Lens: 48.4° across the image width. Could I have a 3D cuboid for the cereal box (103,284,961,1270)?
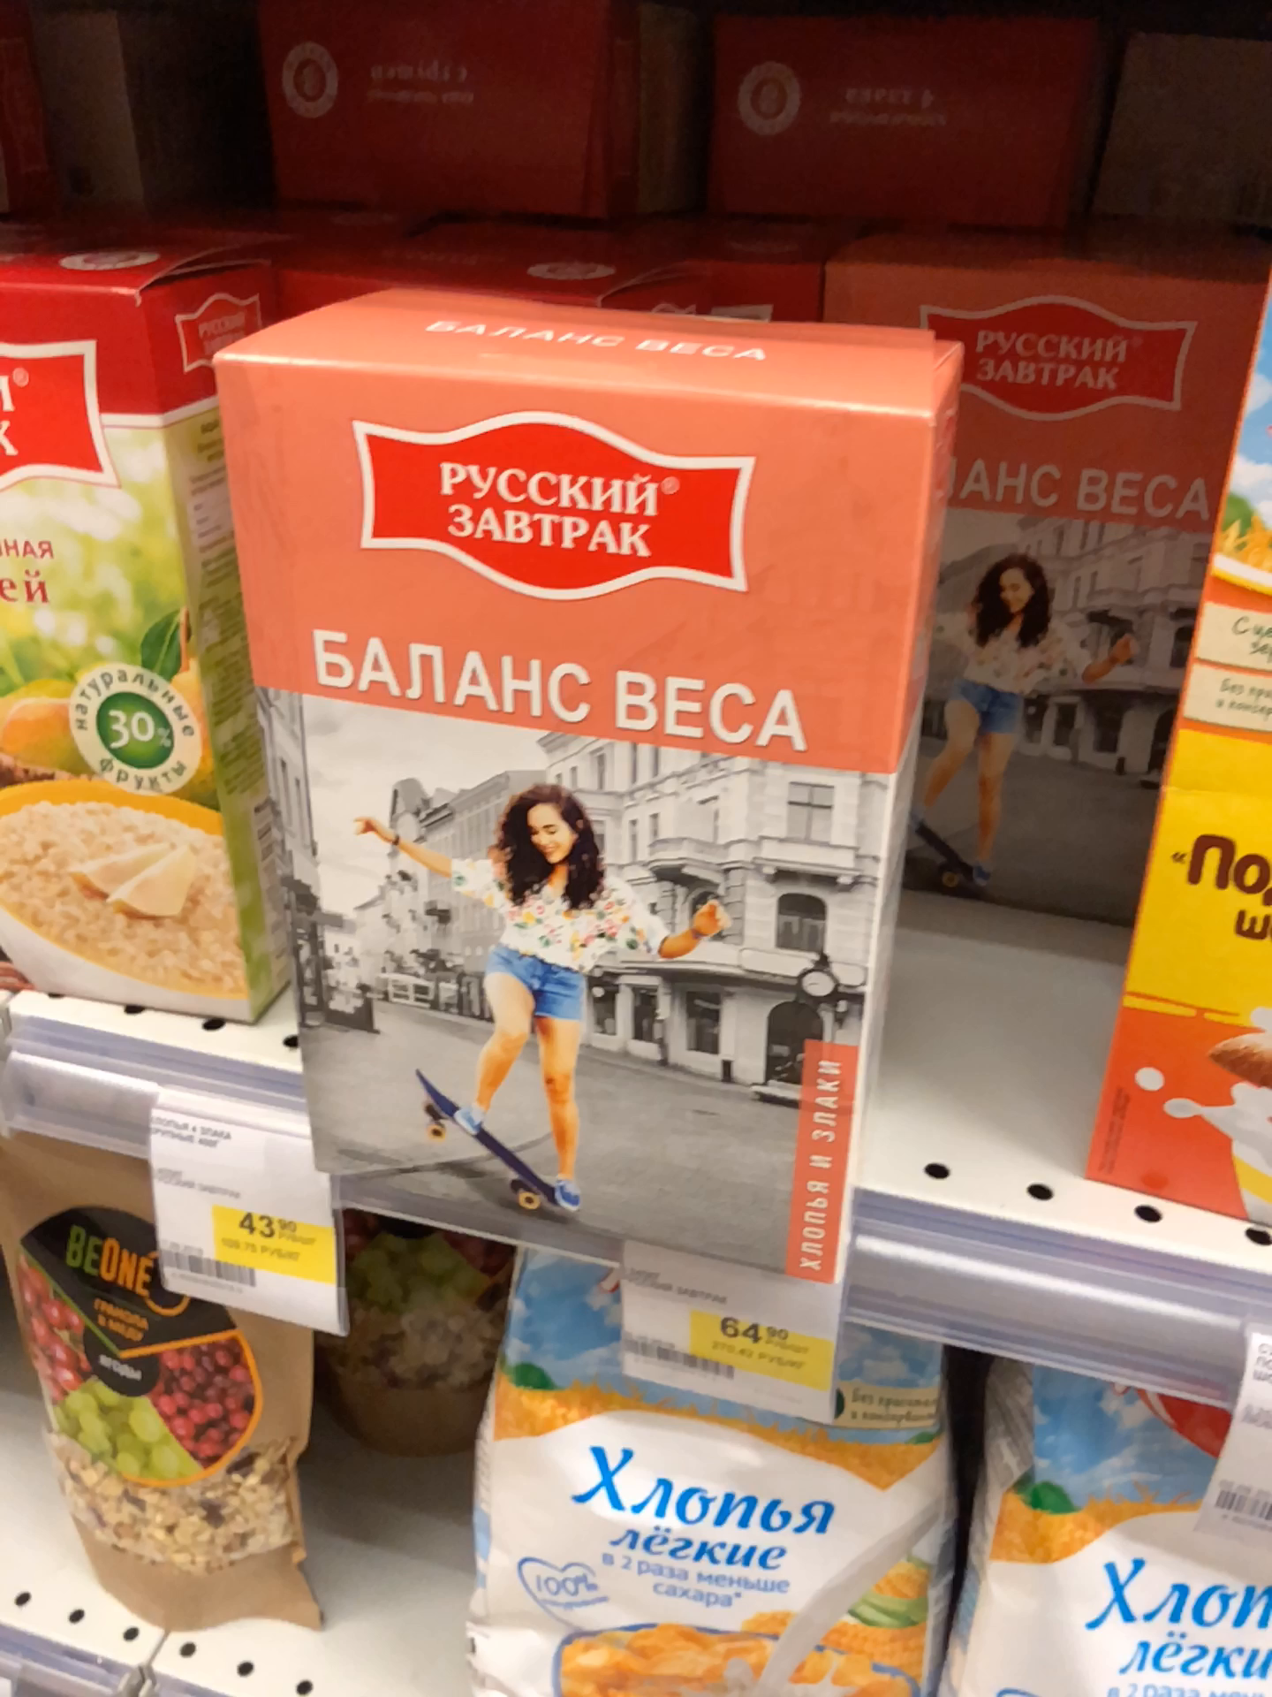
[{"bbox_3d":[-0.016,-0.016,0.300,0.140,0.179,0.070,8,30,13],"label":"cereal box"}]
